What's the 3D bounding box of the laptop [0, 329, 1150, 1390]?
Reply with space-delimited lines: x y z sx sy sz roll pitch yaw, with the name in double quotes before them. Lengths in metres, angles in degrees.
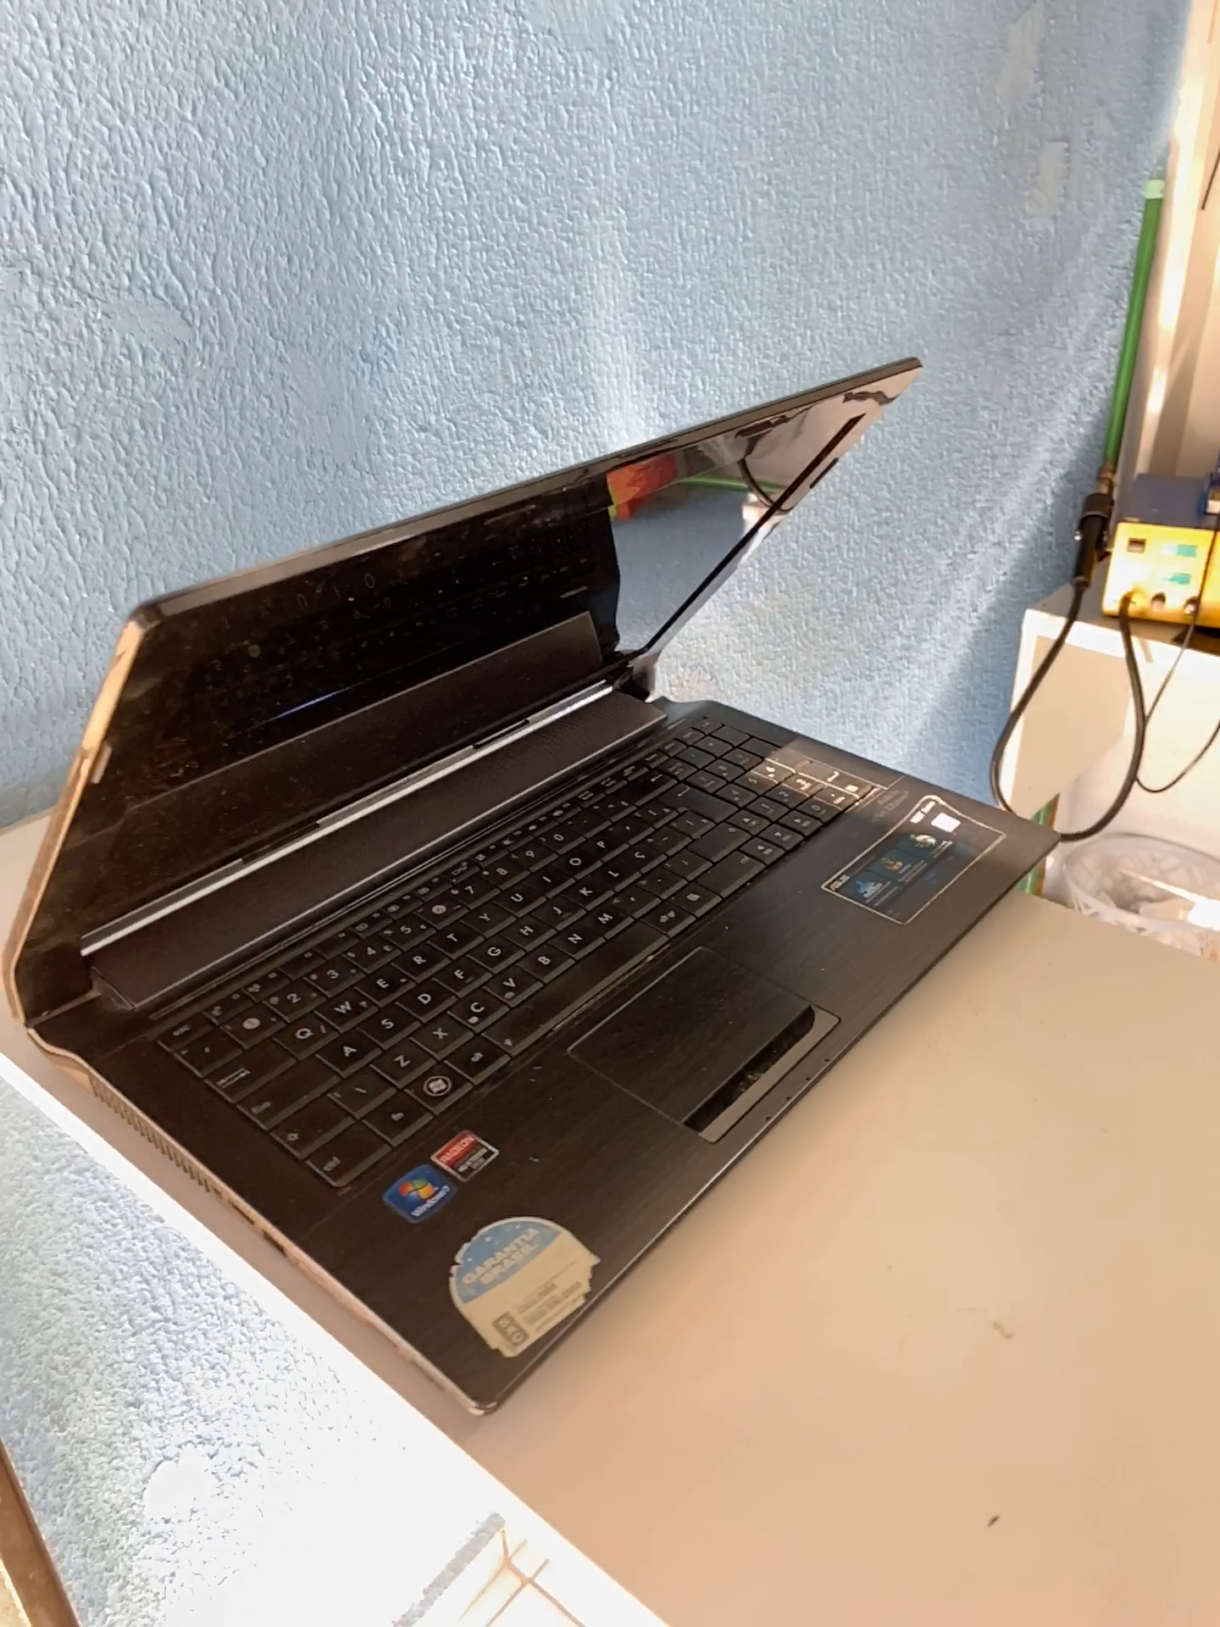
"laptop" -0.001 -0.047 0.498 0.255 0.208 0.389 22 36 35
